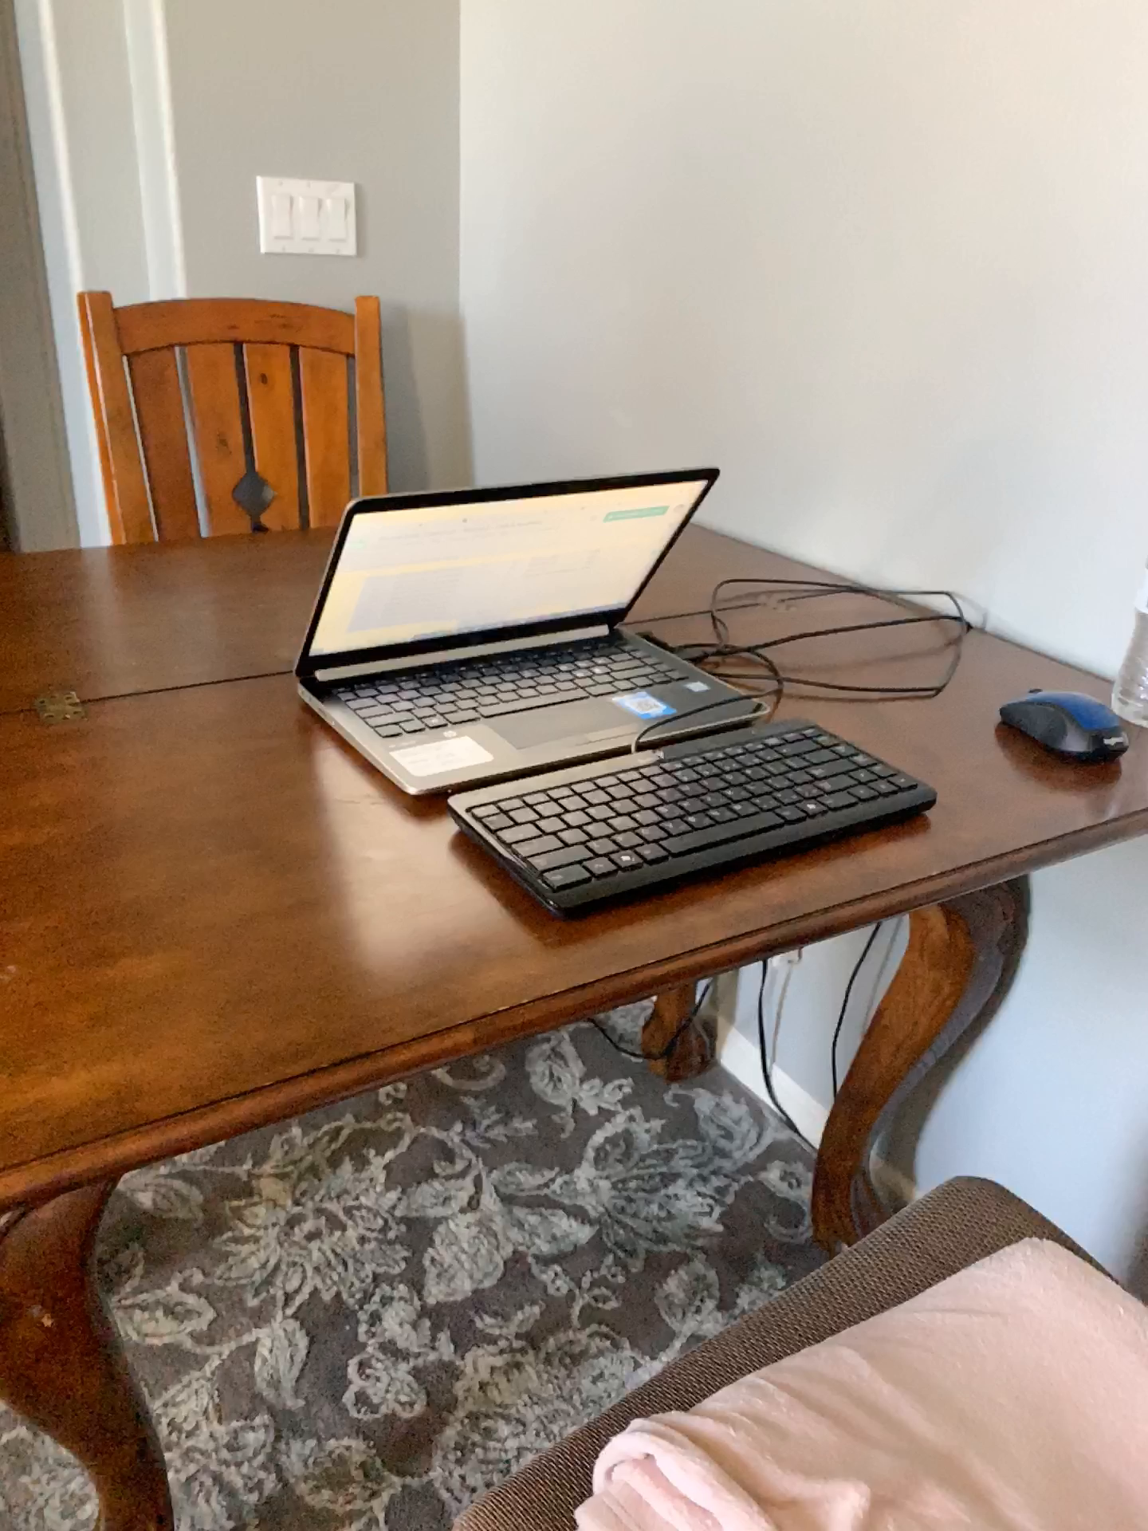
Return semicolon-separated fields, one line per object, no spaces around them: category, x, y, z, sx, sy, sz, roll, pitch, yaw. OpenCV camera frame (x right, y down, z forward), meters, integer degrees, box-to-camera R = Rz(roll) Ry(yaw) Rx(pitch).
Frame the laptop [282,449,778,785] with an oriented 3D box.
laptop;-0.035;-0.129;0.887;0.303;0.157;0.199;-12;29;-30
